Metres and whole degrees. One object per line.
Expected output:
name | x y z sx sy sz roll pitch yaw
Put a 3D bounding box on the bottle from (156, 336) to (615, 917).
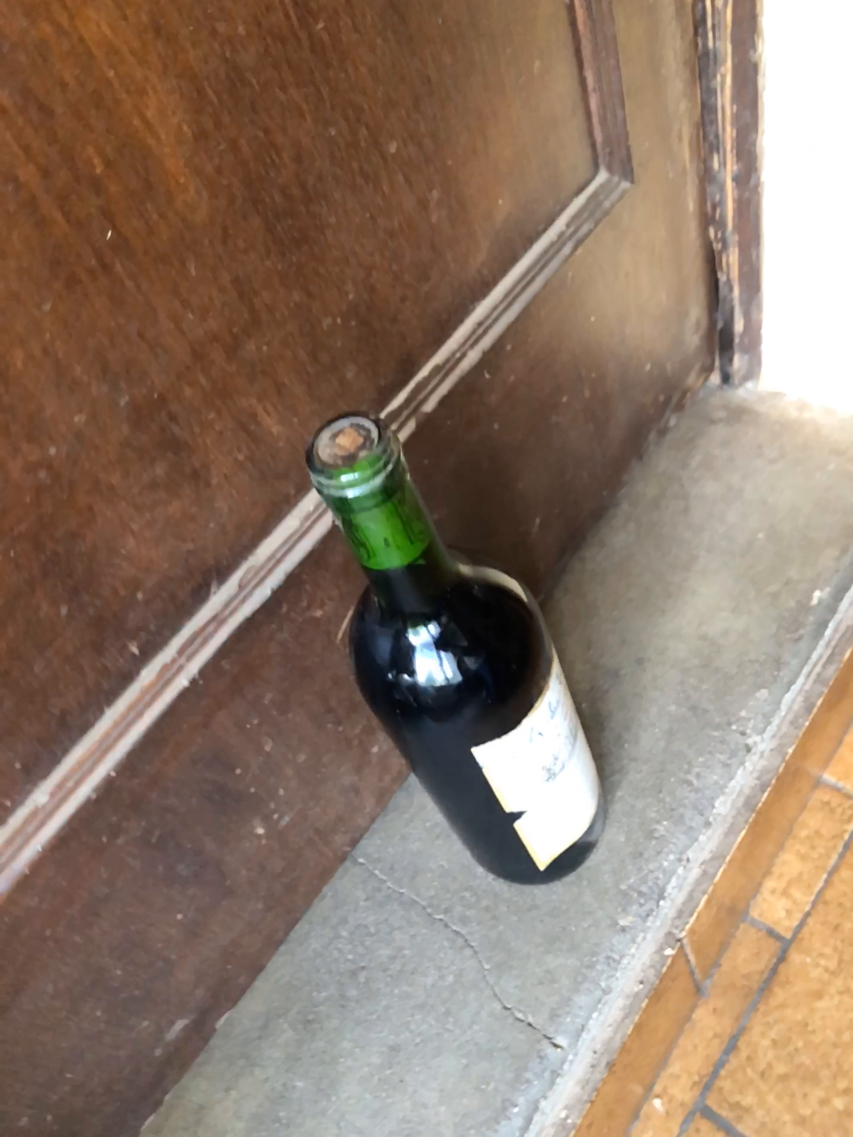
bottle | 0.012 0.048 0.367 0.080 0.279 0.080 -10 52 13
